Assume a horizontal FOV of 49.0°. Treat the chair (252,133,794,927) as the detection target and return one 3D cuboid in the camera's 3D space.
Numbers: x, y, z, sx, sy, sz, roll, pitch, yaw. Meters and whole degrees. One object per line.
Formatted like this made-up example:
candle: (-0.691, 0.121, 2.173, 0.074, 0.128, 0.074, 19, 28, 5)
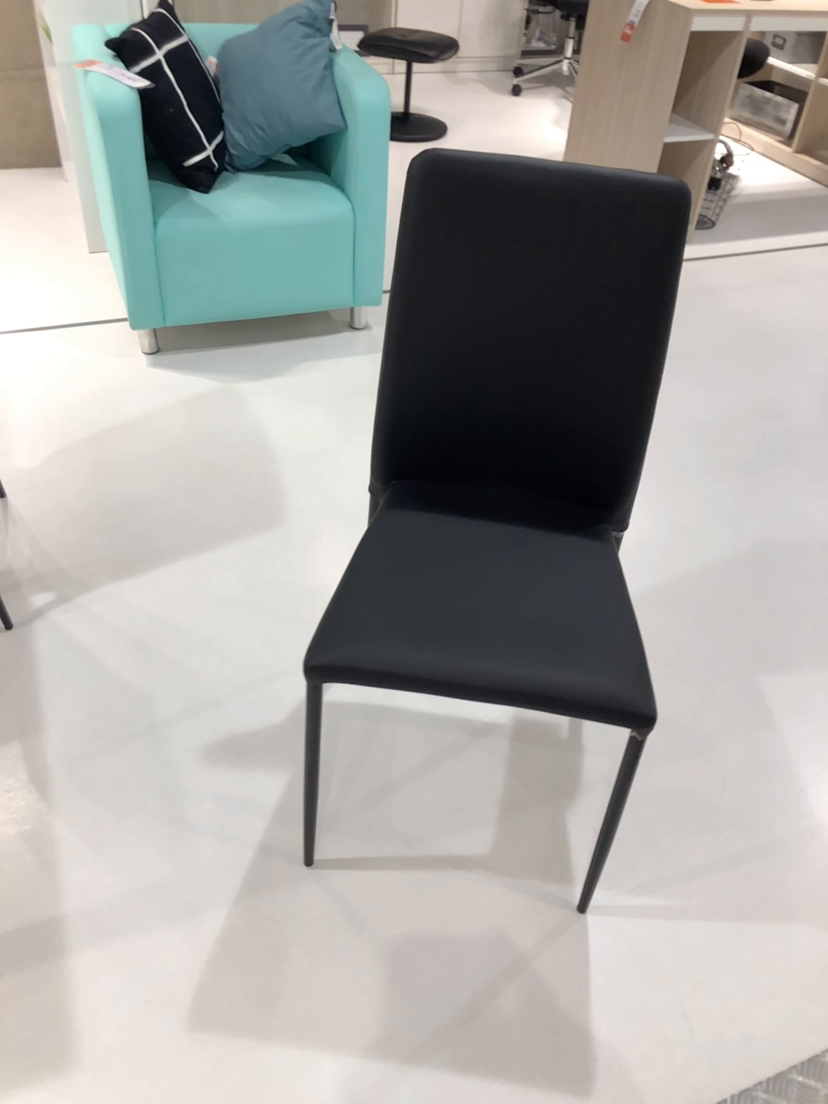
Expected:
chair: (0.098, -0.016, 1.260, 0.450, 0.863, 0.605, 7, 40, 3)
